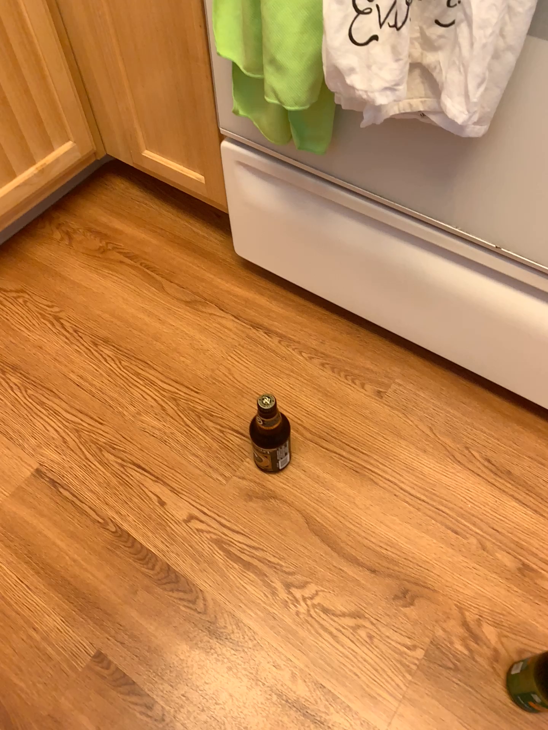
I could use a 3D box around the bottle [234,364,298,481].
[{"bbox_3d":[-0.008,0.091,0.817,0.060,0.209,0.060,-1,57,1],"label":"bottle"}]
